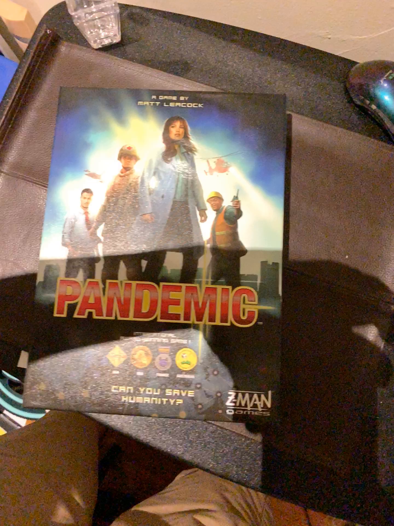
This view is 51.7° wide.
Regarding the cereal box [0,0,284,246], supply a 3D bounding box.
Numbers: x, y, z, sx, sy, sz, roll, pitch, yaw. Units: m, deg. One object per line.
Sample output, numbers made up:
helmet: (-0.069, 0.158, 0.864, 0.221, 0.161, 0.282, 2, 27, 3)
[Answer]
cereal box: (-0.160, -0.479, 1.195, 0.470, 1.000, 0.510, -27, 81, -2)
